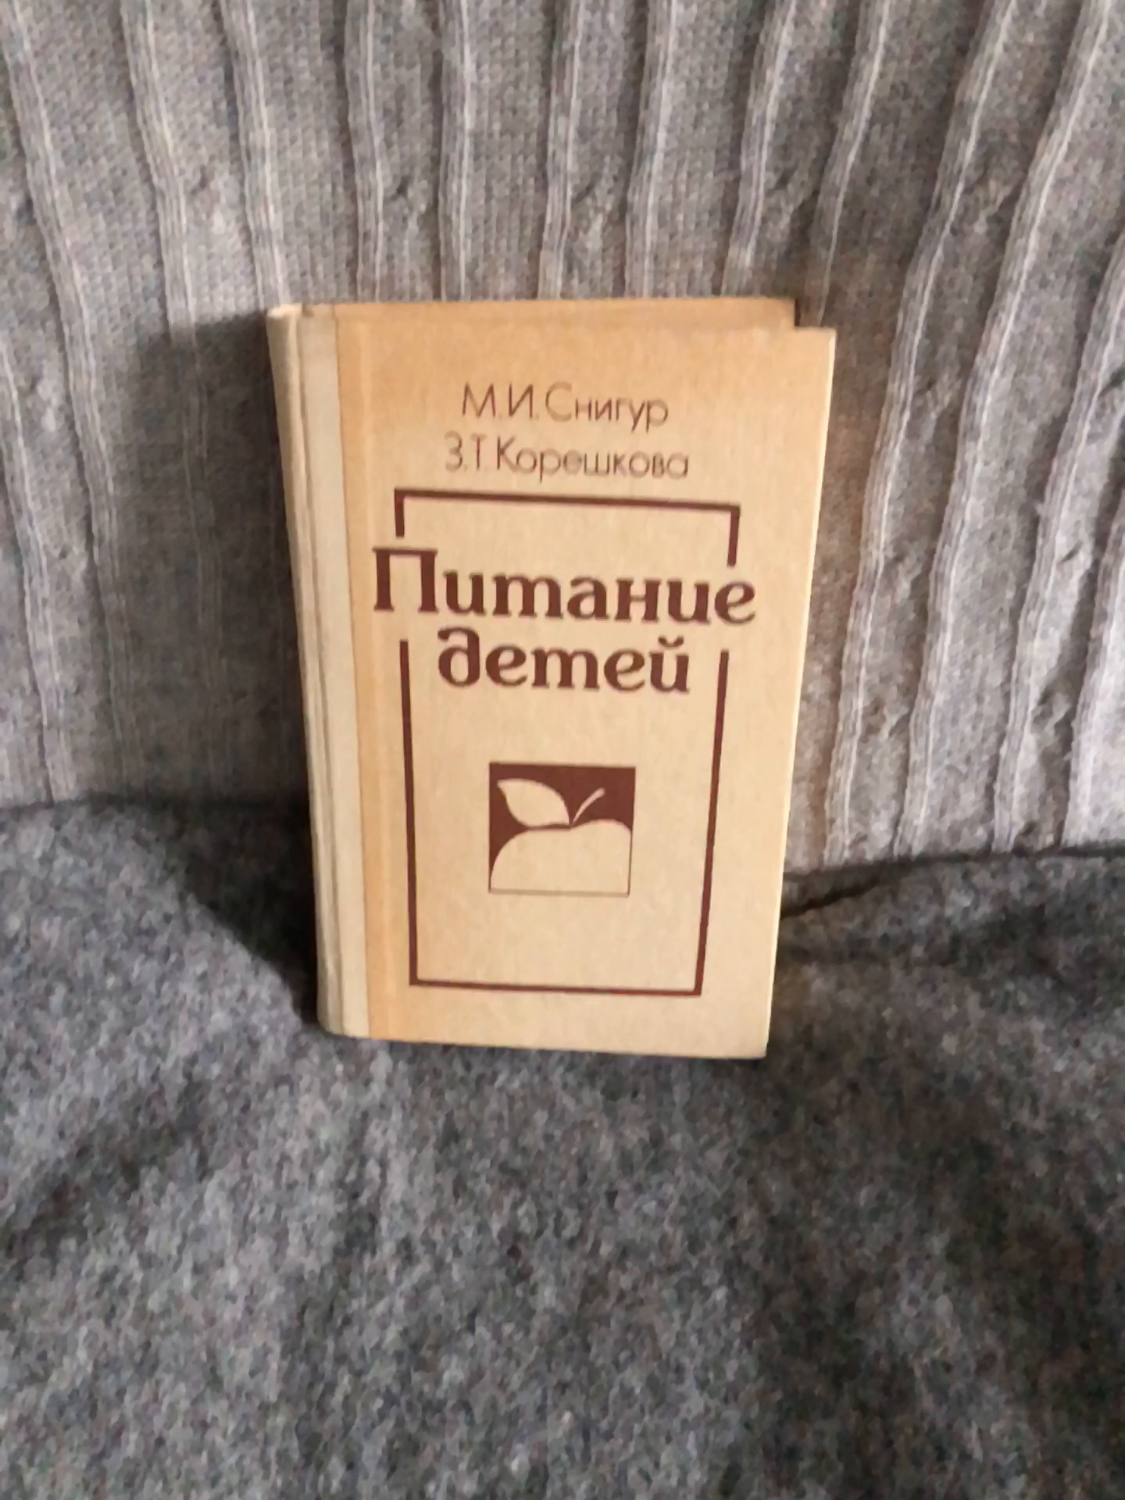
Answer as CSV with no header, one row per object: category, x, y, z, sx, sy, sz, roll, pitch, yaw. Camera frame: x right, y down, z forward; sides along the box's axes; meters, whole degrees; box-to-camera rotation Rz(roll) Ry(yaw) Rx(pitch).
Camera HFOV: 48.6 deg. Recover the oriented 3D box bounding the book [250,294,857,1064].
book,-0.002,-0.013,0.346,0.139,0.212,0.042,0,23,0
